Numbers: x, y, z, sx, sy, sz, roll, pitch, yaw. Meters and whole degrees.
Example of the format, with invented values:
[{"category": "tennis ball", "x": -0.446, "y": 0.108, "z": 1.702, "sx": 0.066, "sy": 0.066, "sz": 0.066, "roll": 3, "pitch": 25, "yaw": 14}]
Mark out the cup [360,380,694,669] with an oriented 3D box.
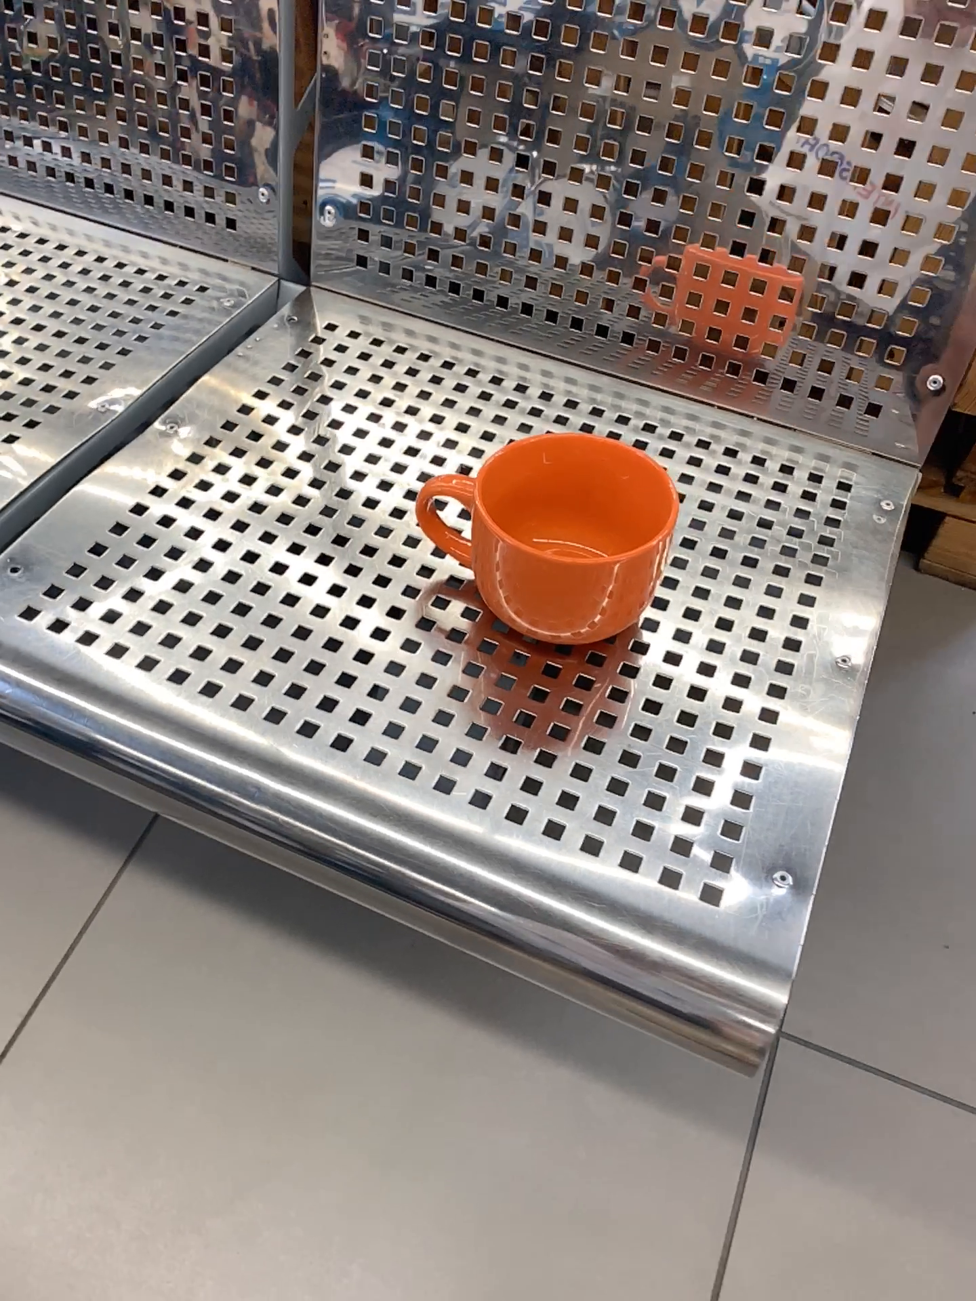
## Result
[{"category": "cup", "x": 0.022, "y": -0.075, "z": 0.562, "sx": 0.150, "sy": 0.070, "sz": 0.110, "roll": 20, "pitch": 48, "yaw": 13}]
